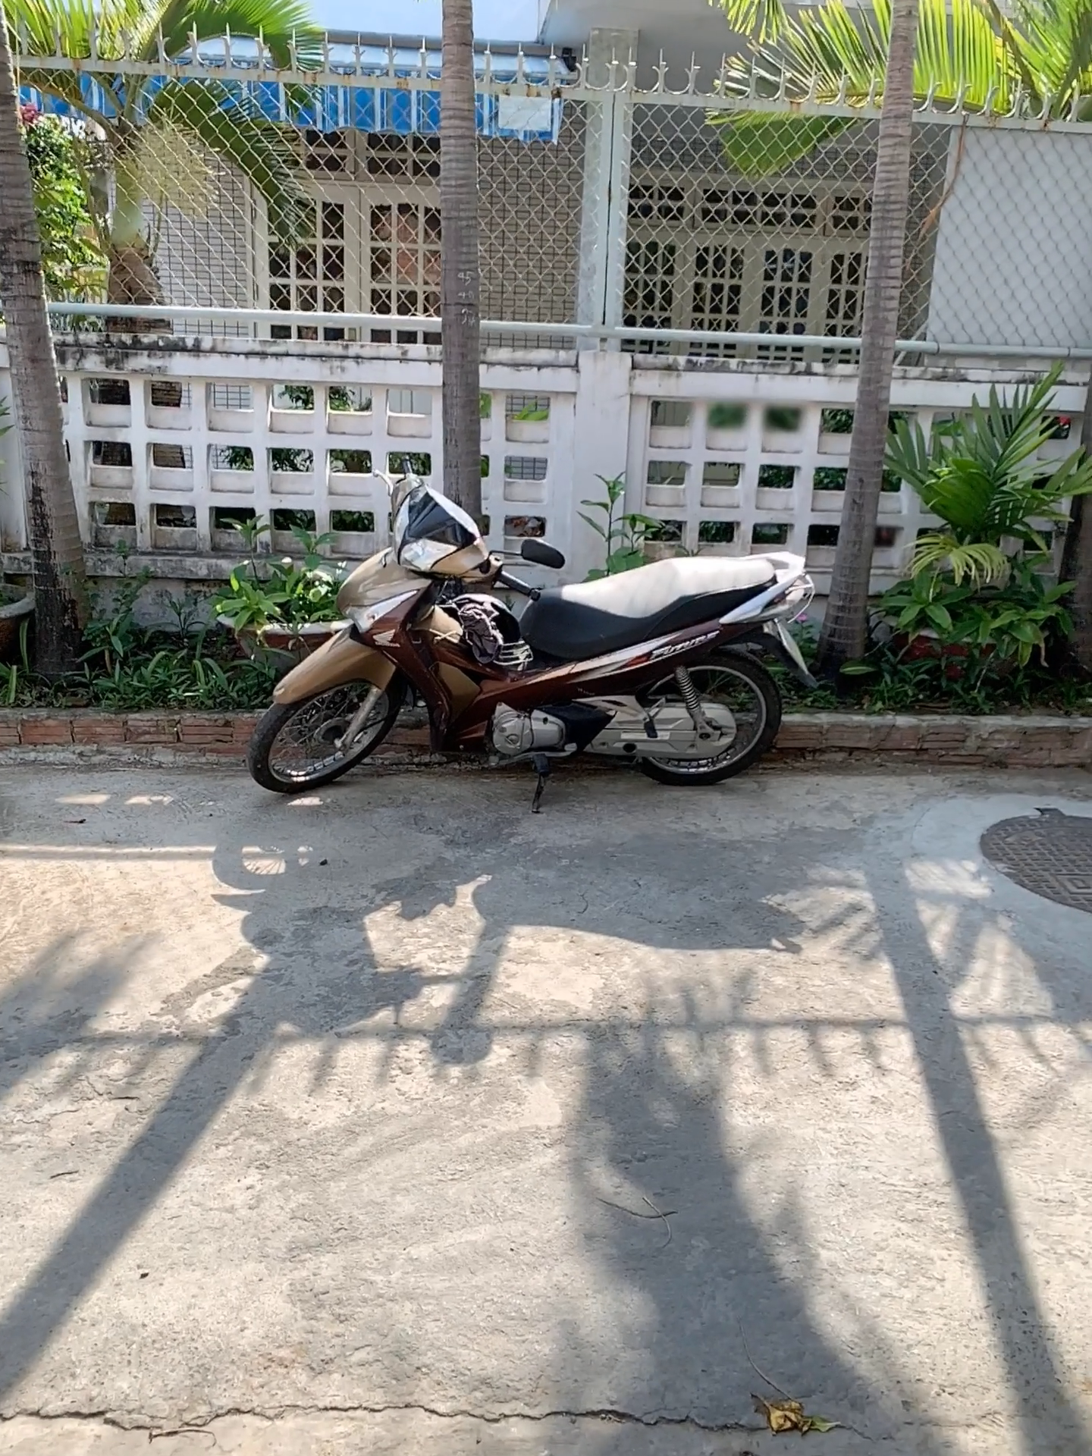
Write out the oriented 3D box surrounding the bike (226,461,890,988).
[{"bbox_3d":[0.040,-0.098,3.637,1.975,1.442,0.614,-3,17,-18],"label":"bike"}]
